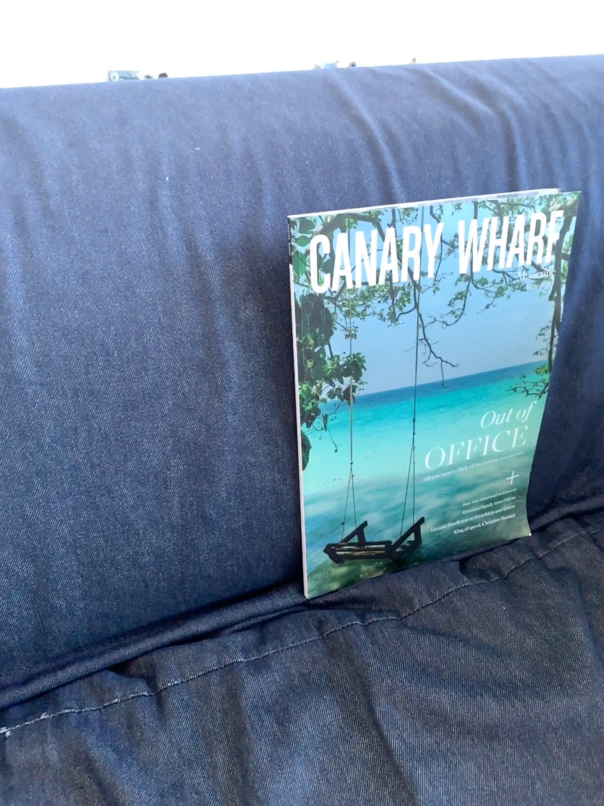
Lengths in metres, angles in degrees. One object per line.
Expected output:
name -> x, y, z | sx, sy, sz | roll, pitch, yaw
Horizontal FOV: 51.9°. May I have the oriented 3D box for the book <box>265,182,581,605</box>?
book -> 0.088, -0.003, 0.441 | 0.206, 0.273, 0.030 | -11, 24, -16
